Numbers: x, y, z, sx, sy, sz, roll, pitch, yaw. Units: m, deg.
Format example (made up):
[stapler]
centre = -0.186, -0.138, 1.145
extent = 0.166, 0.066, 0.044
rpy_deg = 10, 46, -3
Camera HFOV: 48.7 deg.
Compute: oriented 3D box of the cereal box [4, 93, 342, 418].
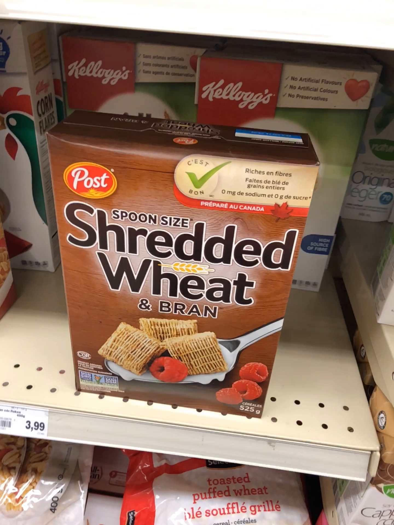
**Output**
[cereal box]
centre = -0.020, 0.006, 0.364
extent = 0.210, 0.248, 0.071
rpy_deg = 7, 34, 4
